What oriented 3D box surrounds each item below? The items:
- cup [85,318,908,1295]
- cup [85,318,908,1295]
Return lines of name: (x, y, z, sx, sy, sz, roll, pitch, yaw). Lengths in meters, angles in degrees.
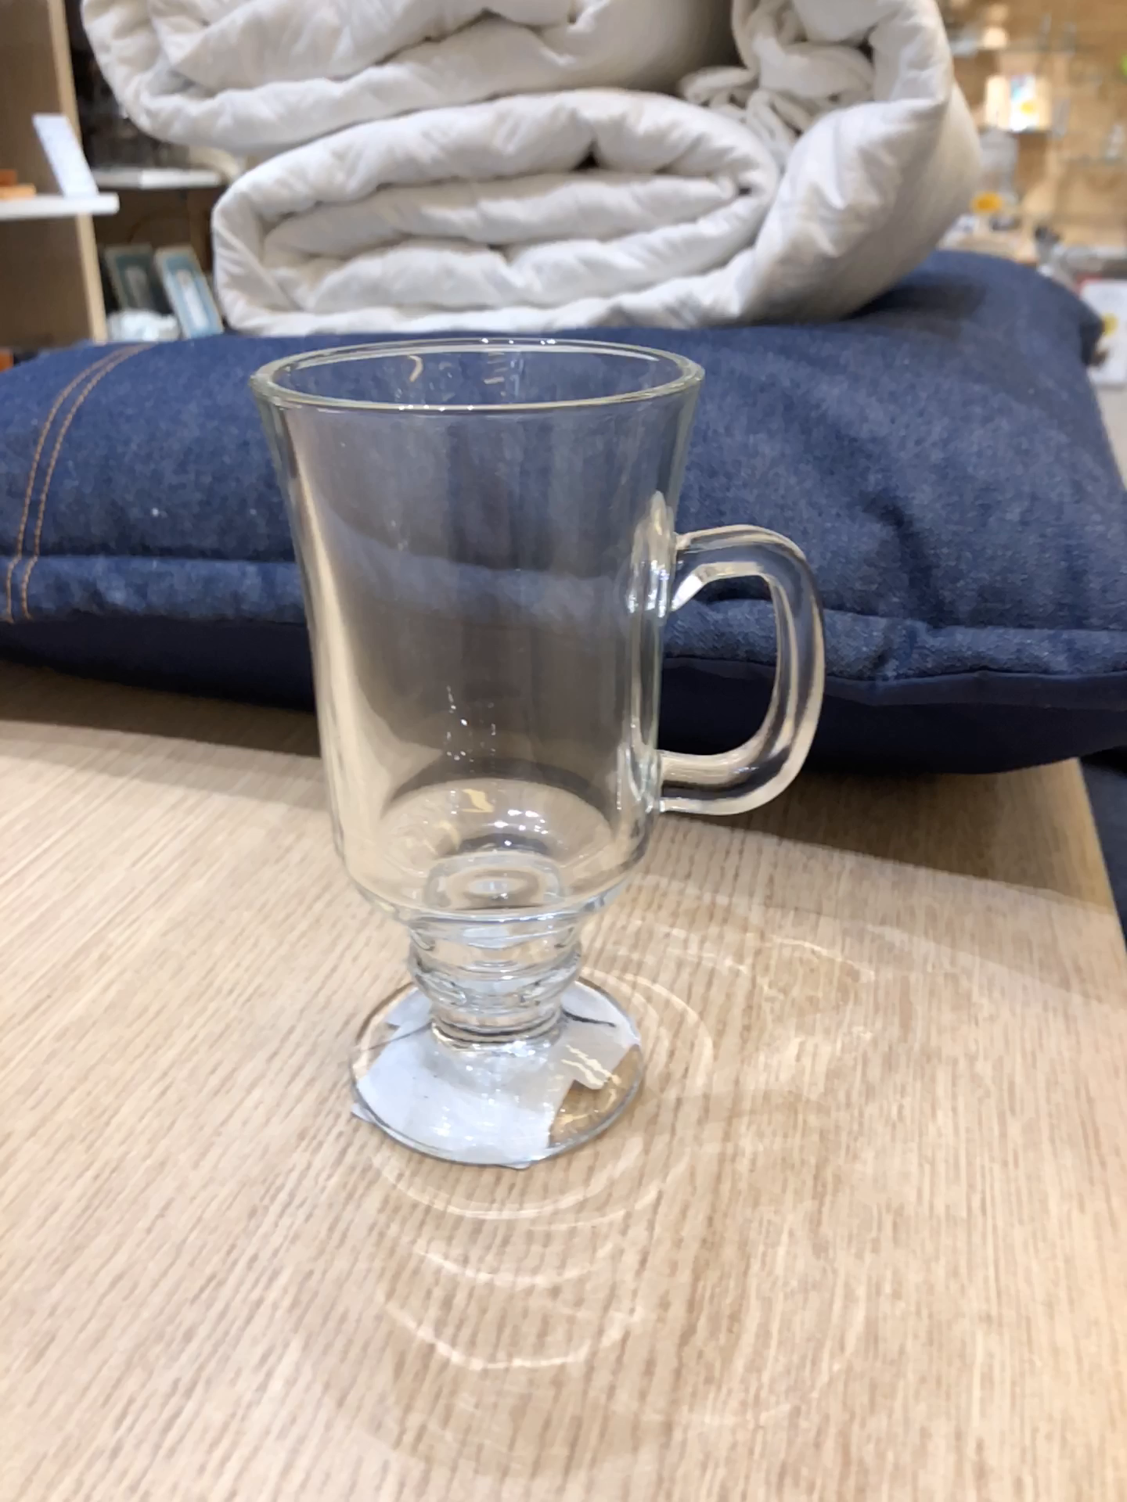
cup: (-0.005, 0.004, 0.236, 0.110, 0.149, 0.091, 4, 25, 8)
cup: (-0.005, 0.004, 0.236, 0.110, 0.149, 0.091, 4, 25, 8)
